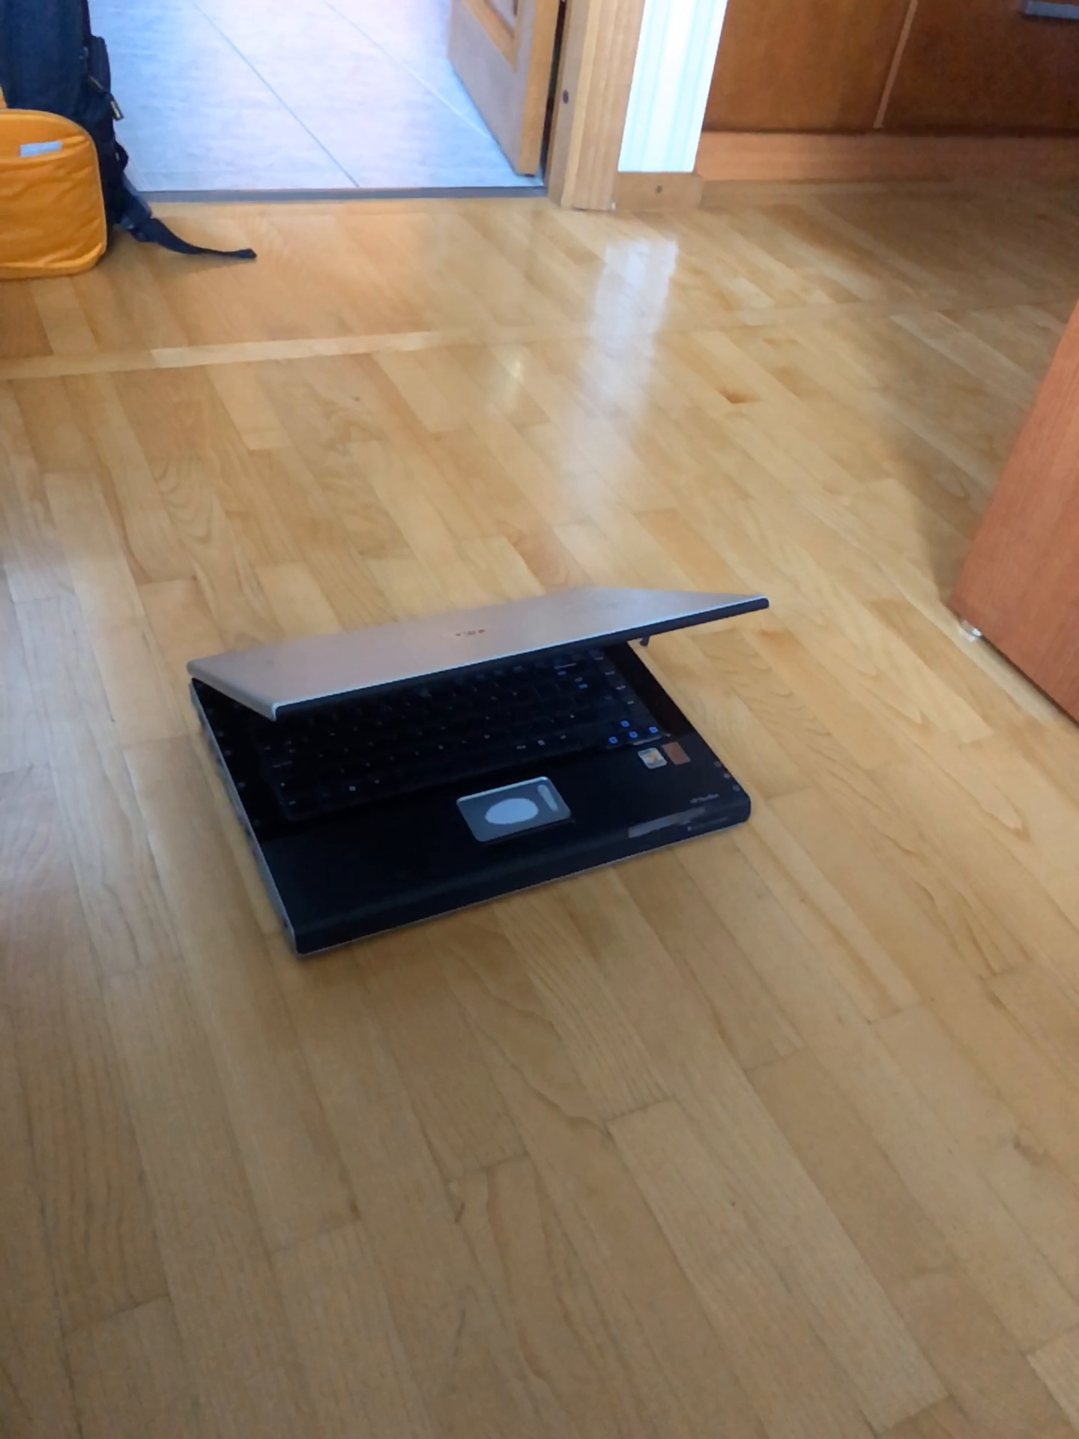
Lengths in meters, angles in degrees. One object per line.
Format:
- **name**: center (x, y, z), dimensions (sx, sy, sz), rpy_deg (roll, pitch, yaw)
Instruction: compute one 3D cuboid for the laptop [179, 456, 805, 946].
- **laptop**: center (-0.044, -0.037, 0.874), dimensions (0.363, 0.147, 0.269), rpy_deg (-13, 48, -25)
